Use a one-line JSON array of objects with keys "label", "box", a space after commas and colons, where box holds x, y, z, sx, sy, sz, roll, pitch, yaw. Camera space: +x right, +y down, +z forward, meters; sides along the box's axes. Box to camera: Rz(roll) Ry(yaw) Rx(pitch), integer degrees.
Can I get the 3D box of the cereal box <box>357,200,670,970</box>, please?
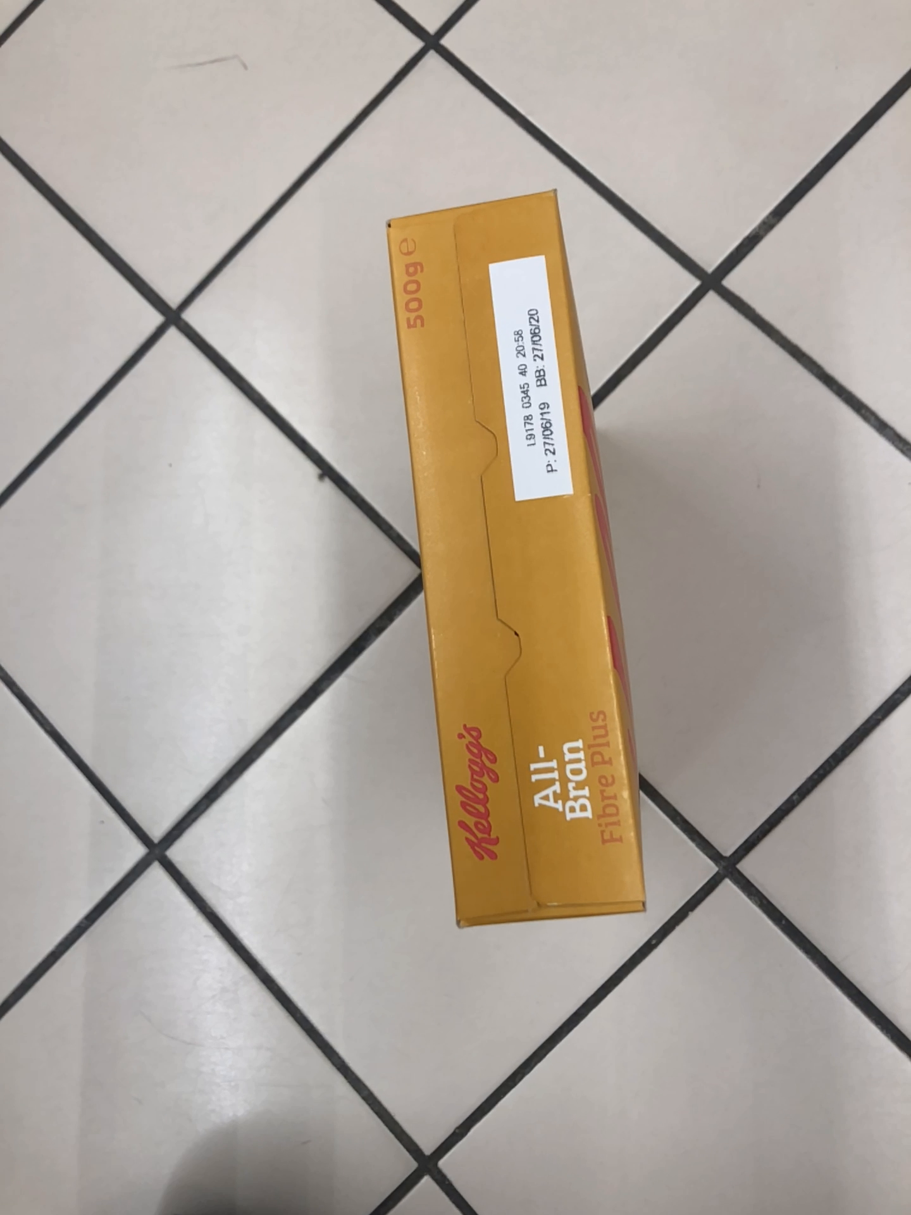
[{"label": "cereal box", "box": [0.032, 0.002, 0.373, 0.060, 0.240, 0.190, -7, 84, 9]}]
